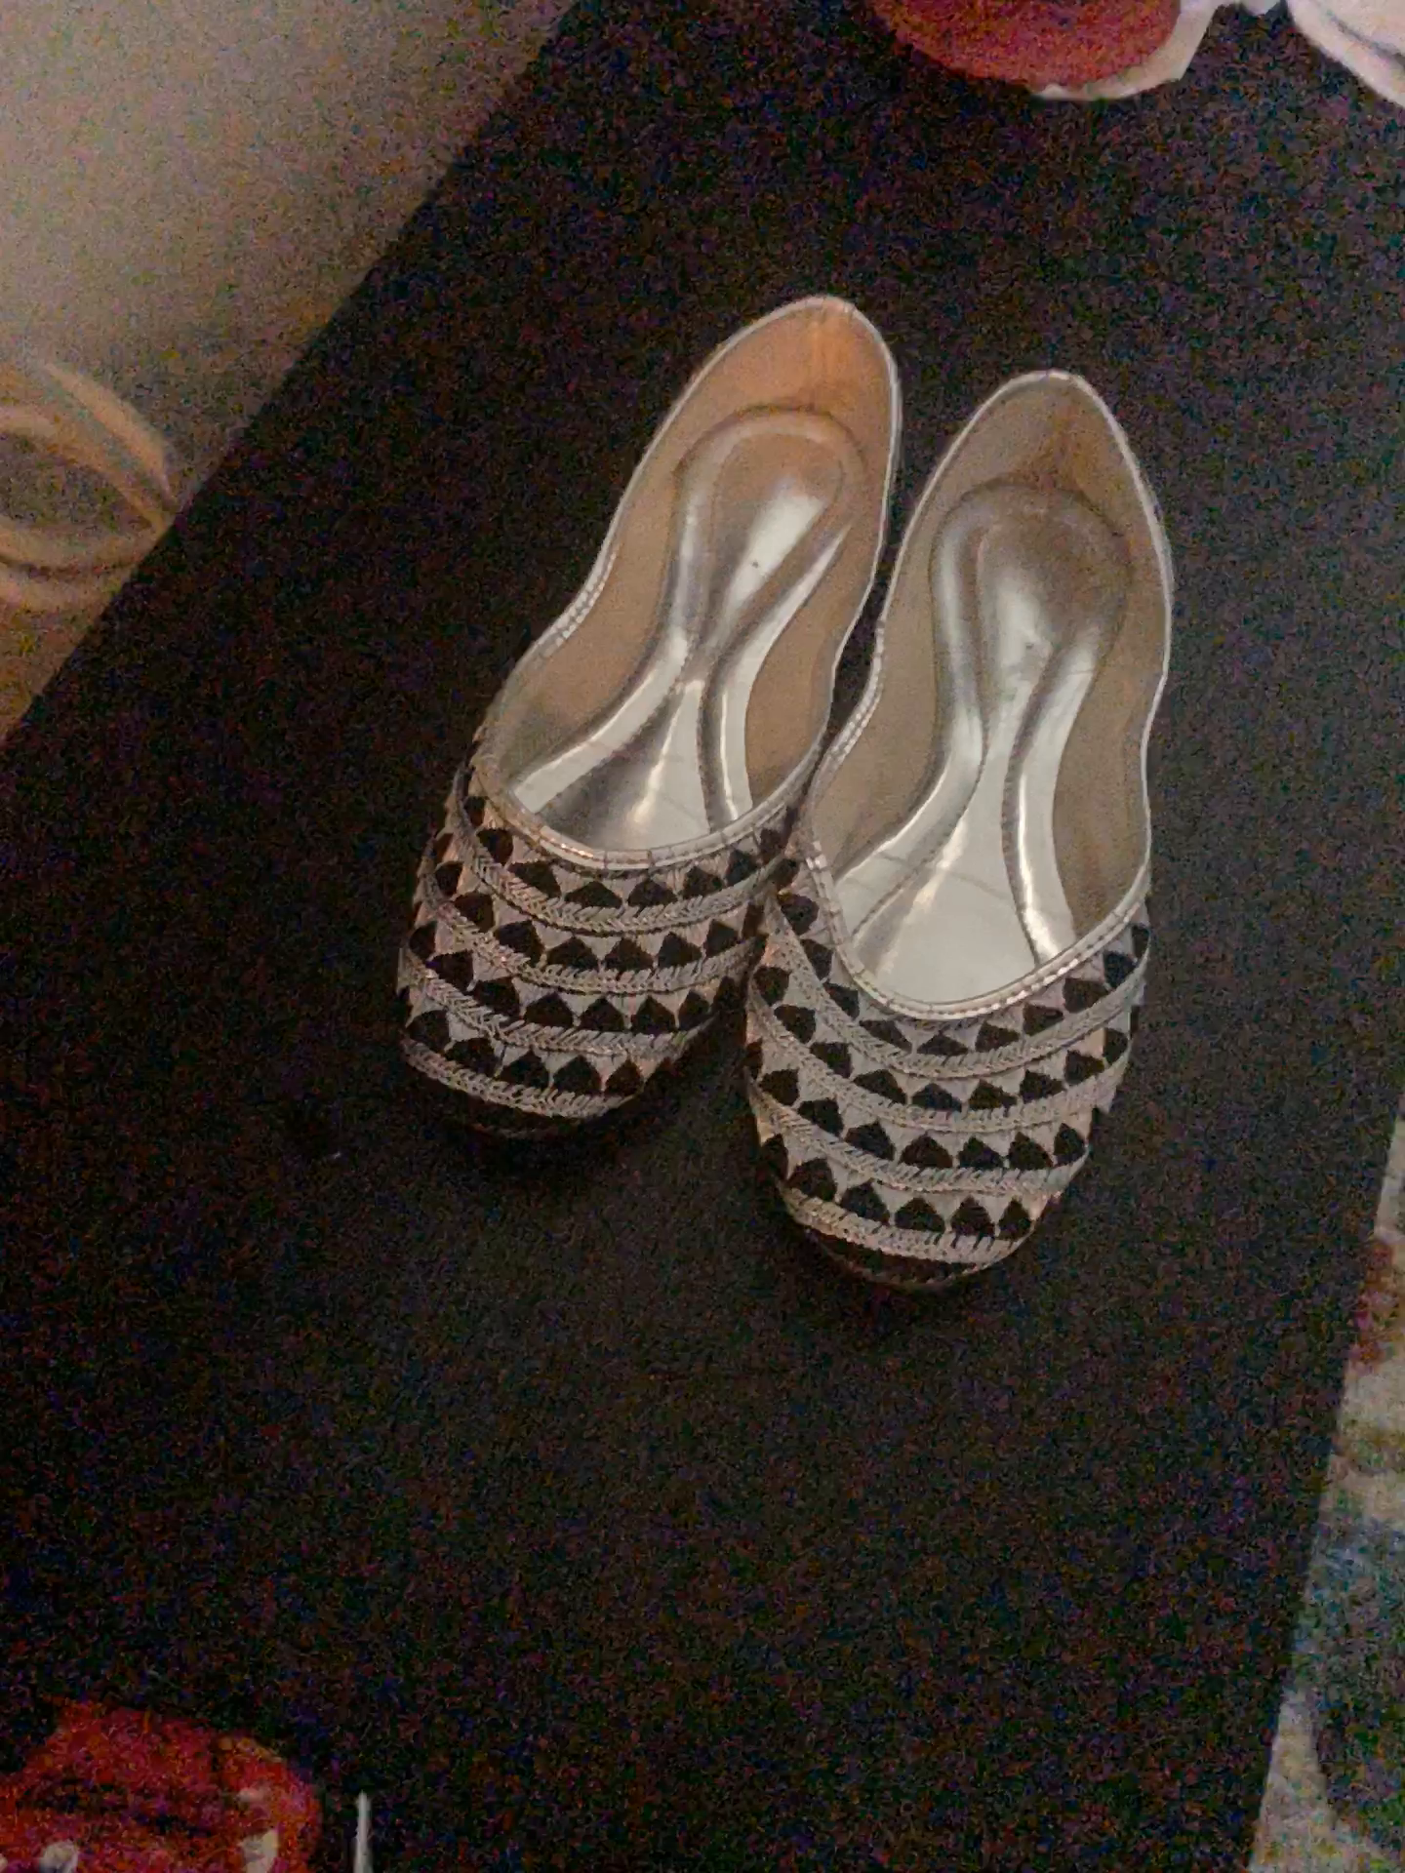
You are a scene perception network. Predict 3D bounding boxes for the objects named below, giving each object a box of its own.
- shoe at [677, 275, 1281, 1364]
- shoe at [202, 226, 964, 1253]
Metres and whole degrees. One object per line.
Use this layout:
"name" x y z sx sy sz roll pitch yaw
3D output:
"shoe" 0.075 -0.041 0.369 0.100 0.080 0.261 13 63 6
"shoe" -0.017 -0.066 0.400 0.100 0.080 0.271 17 63 8
